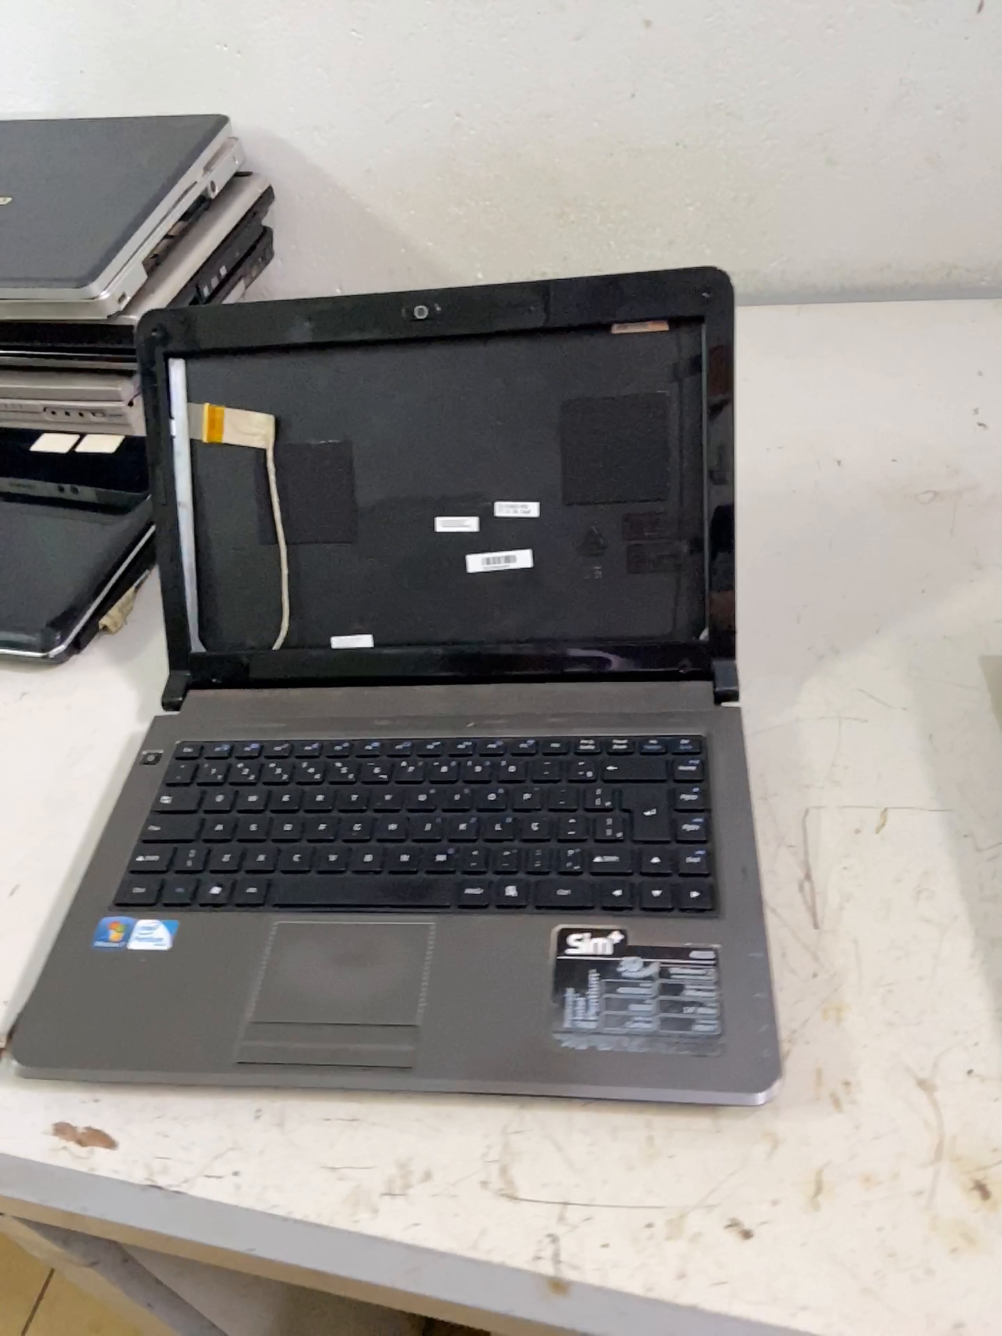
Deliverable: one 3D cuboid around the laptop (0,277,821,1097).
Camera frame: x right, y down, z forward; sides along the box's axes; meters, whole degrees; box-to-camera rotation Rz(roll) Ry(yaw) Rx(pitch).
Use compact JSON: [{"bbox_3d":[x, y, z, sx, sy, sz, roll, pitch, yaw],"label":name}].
[{"bbox_3d":[-0.049,-0.014,0.511,0.343,0.174,0.367,-1,45,9],"label":"laptop"}]
